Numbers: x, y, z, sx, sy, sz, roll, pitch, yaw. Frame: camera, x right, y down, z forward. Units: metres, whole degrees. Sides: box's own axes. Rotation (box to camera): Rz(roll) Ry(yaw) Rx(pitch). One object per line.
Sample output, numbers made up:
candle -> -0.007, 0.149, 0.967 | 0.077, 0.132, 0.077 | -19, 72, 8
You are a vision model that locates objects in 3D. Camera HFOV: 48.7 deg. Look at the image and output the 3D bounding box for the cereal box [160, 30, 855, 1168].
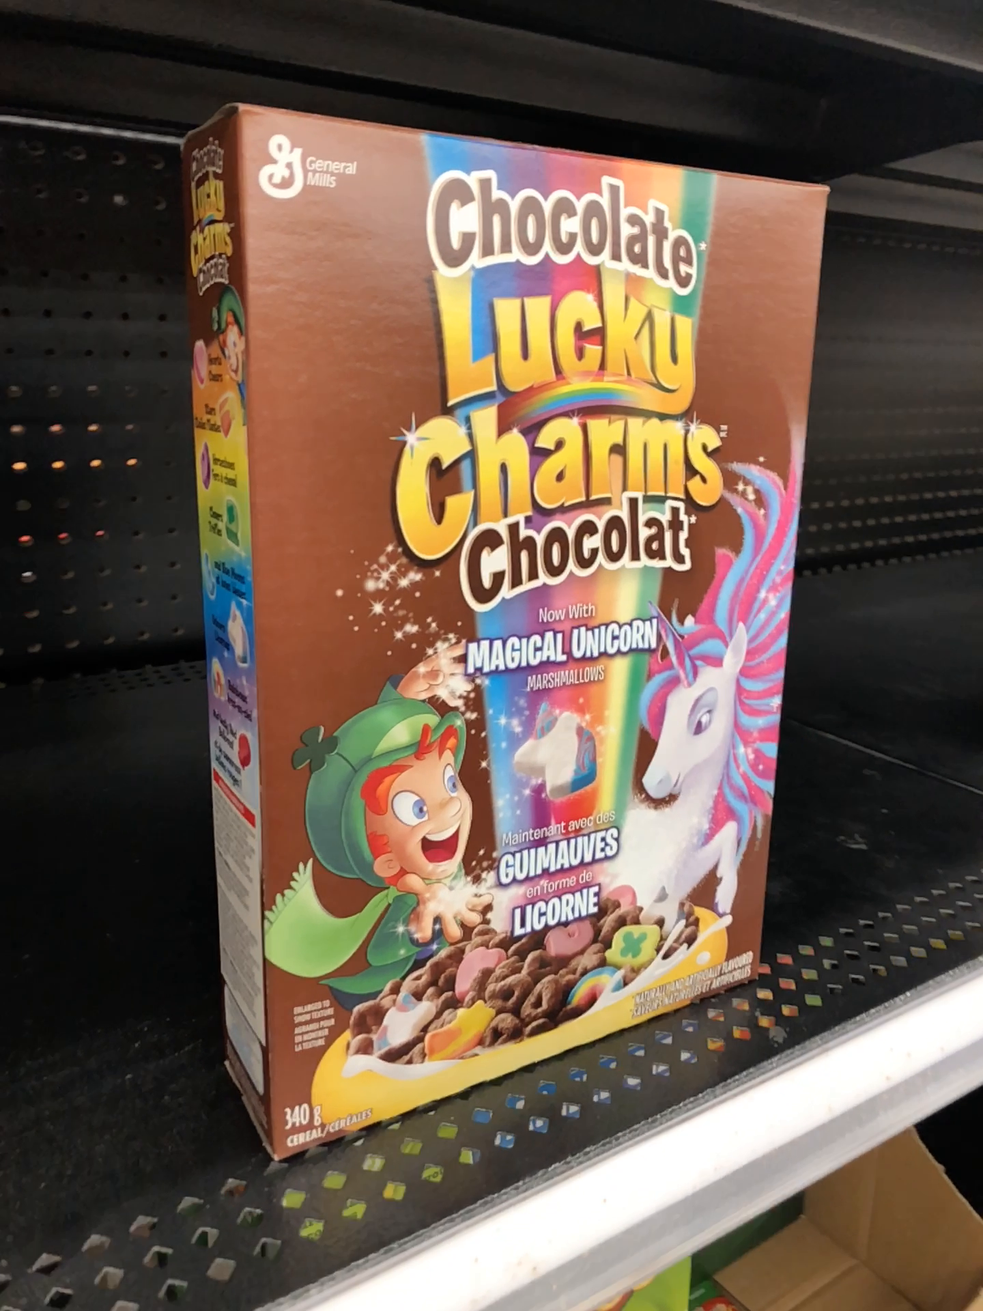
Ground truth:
cereal box -> 0.012, -0.014, 0.342 | 0.200, 0.289, 0.050 | -8, 17, -30
